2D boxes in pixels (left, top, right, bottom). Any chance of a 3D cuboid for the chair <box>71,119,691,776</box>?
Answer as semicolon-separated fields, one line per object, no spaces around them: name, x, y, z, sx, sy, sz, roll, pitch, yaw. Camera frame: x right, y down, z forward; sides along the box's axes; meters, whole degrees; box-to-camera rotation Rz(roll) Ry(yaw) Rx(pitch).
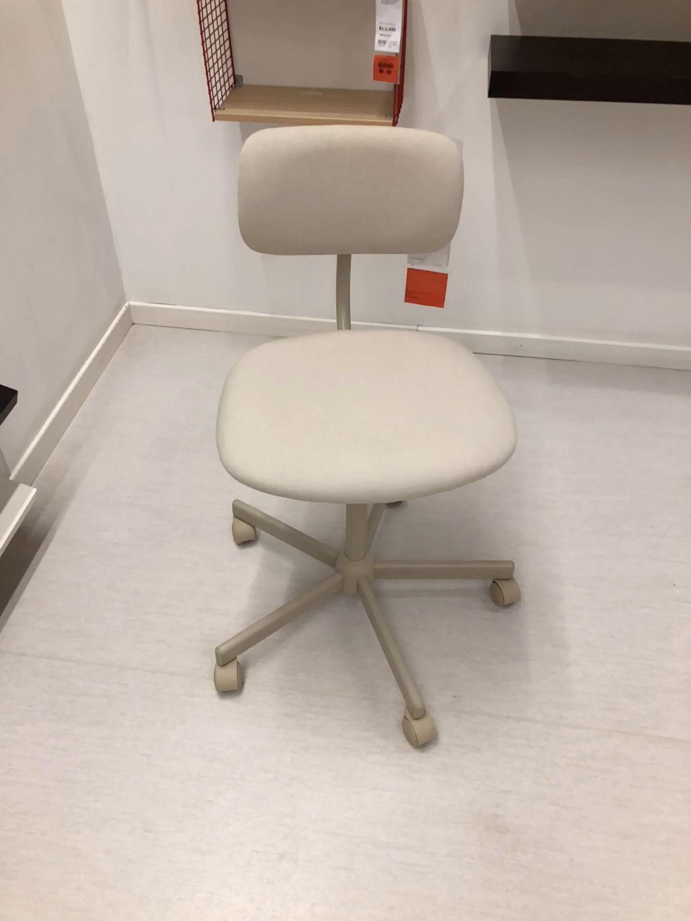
chair;0.035;-0.027;1.230;0.640;0.765;0.694;-3;43;-4
